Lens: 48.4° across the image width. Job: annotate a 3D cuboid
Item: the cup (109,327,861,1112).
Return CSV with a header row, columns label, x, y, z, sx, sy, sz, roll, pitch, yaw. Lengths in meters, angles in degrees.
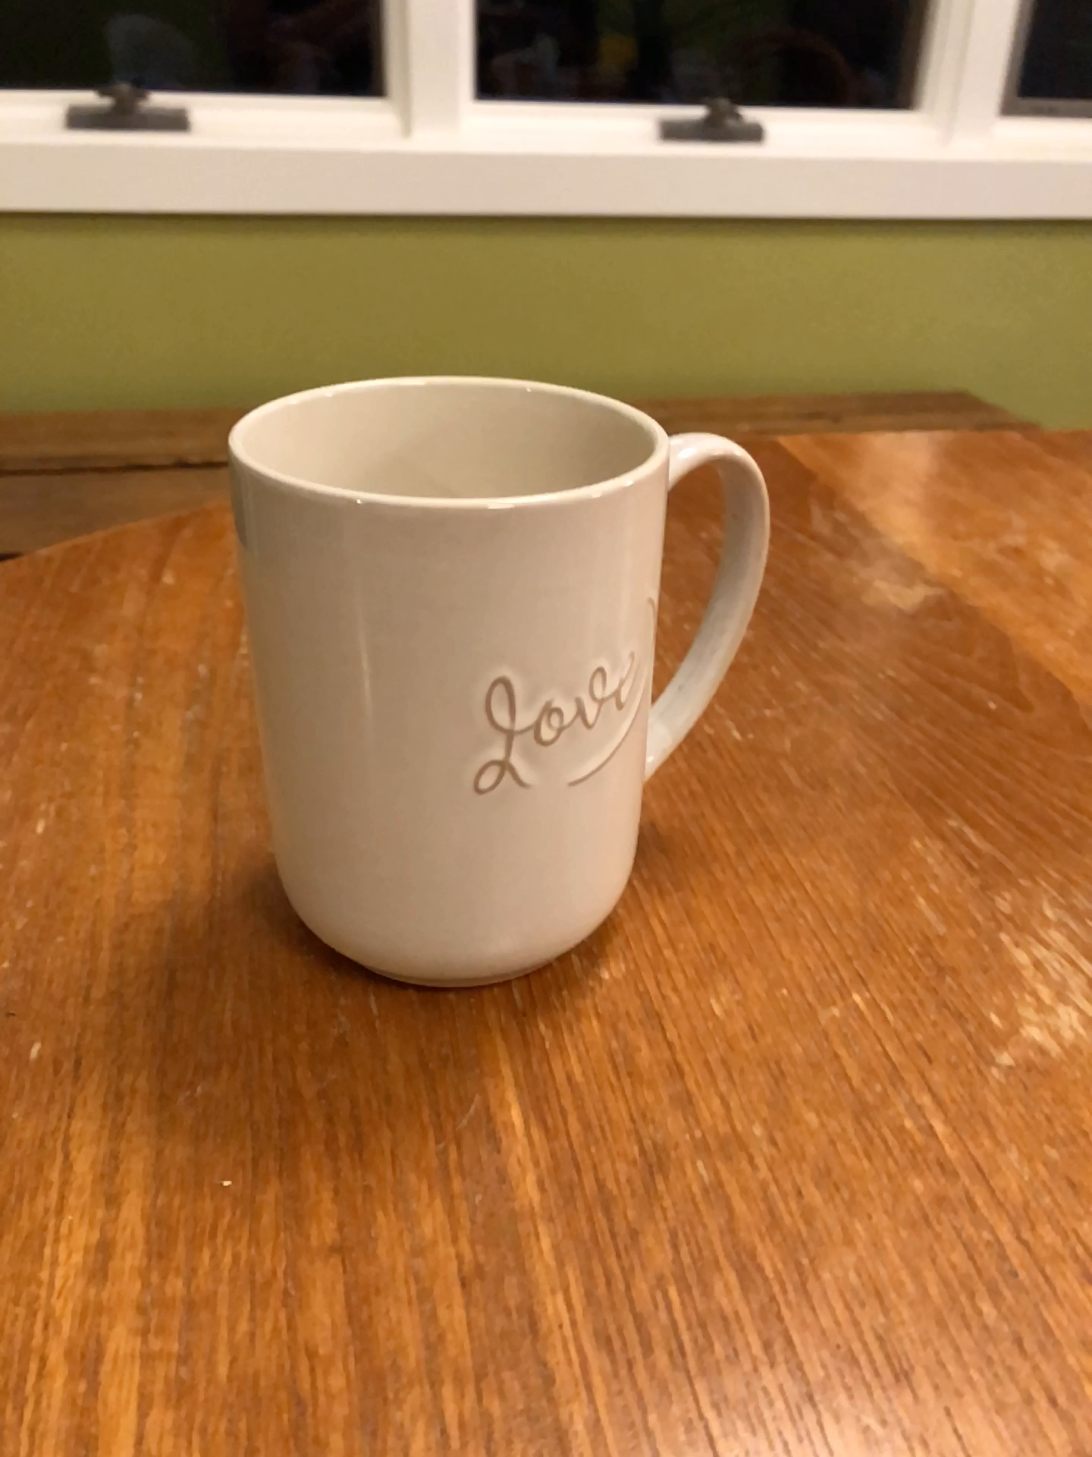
label,x,y,z,sx,sy,sz,roll,pitch,yaw
cup,-0.010,-0.015,0.290,0.092,0.124,0.135,26,38,36
